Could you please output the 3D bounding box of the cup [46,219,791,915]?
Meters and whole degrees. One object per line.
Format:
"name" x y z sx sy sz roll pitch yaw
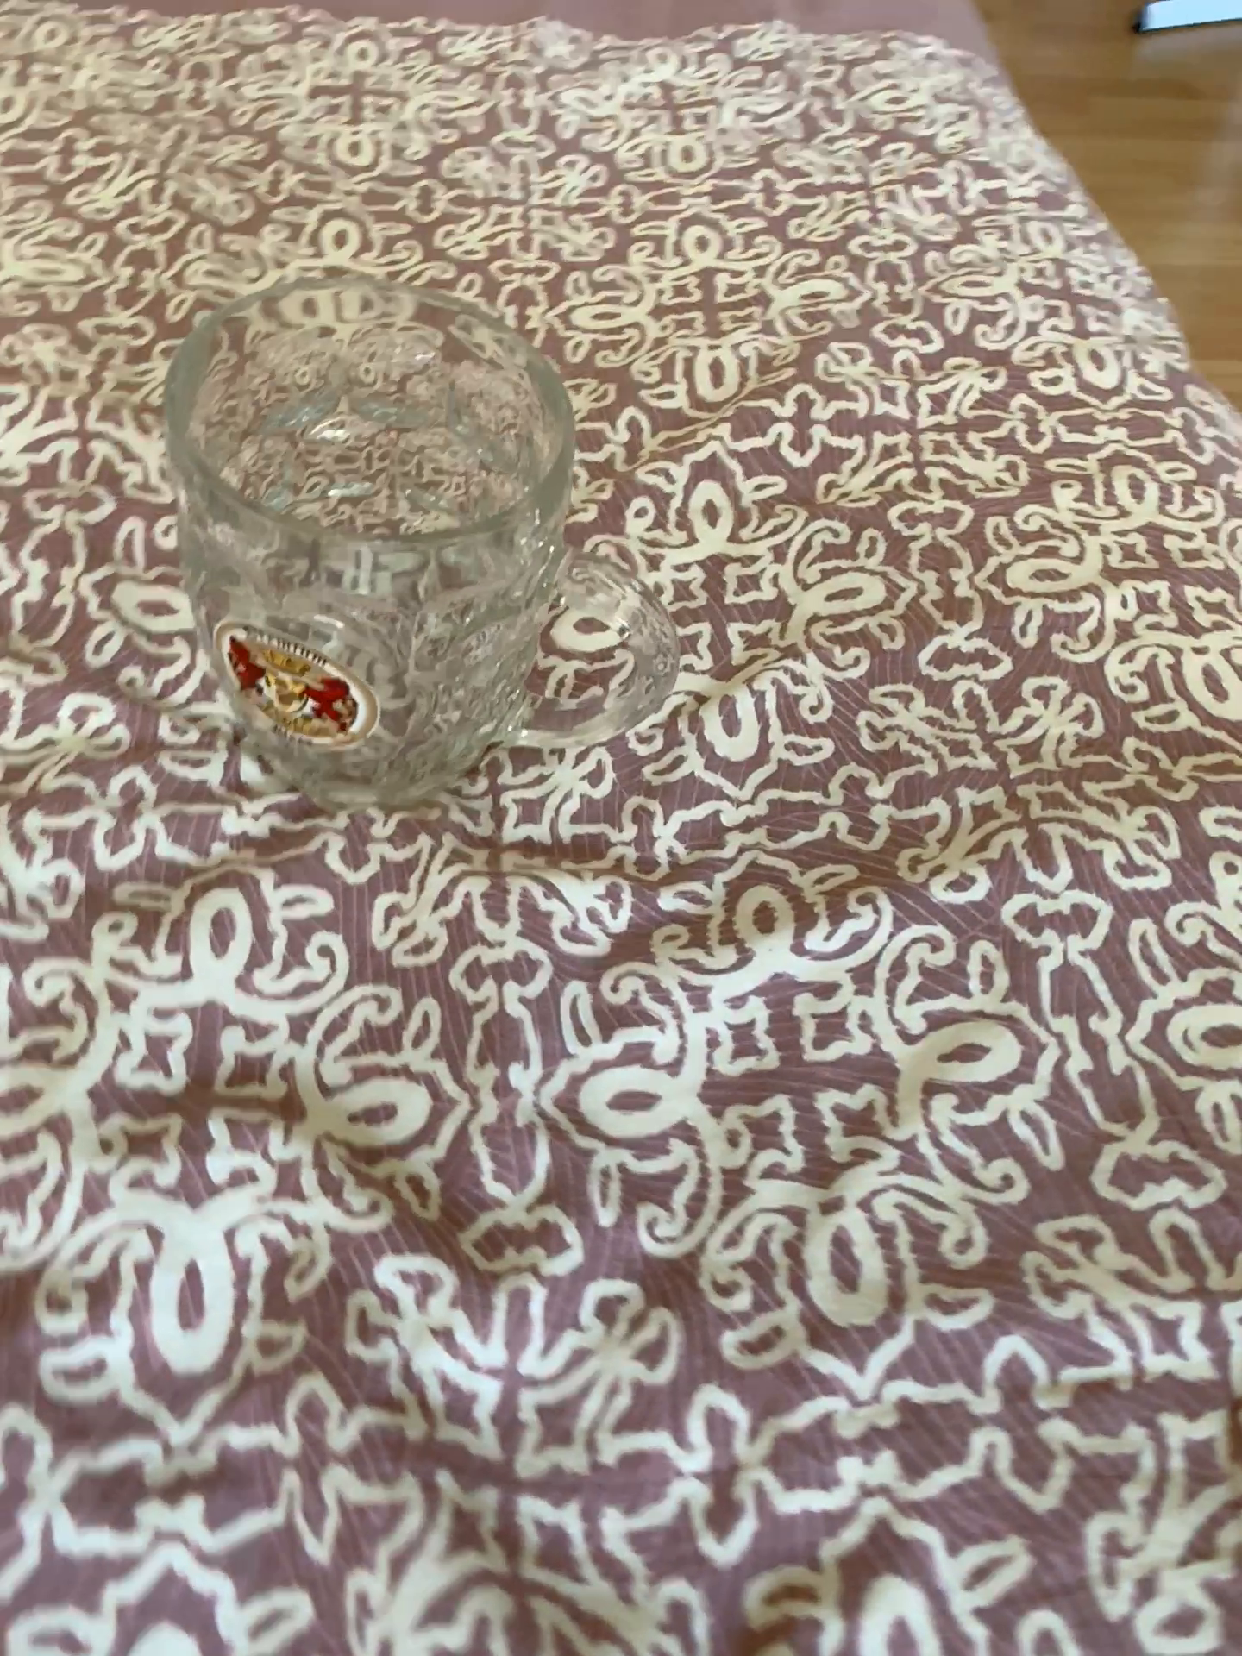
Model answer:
"cup" -0.039 -0.060 0.308 0.130 0.109 0.091 14 55 7
